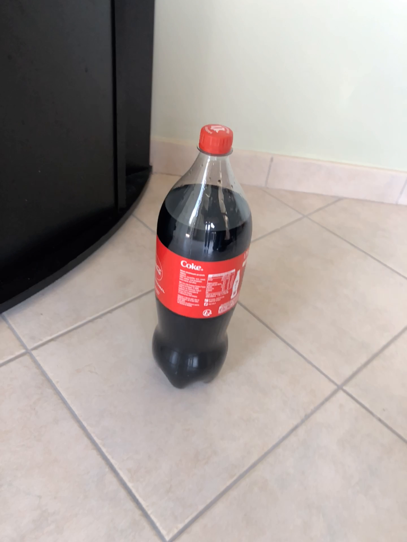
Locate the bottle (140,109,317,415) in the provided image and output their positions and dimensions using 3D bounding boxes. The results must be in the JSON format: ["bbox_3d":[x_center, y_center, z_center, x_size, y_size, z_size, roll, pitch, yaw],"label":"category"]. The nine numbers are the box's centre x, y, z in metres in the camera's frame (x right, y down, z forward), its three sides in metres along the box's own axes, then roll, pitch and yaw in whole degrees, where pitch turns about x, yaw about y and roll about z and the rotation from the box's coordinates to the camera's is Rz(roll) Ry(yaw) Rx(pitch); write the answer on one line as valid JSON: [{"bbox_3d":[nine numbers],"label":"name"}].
[{"bbox_3d":[0.008,0.005,0.487,0.110,0.308,0.101,5,40,-4],"label":"bottle"}]
